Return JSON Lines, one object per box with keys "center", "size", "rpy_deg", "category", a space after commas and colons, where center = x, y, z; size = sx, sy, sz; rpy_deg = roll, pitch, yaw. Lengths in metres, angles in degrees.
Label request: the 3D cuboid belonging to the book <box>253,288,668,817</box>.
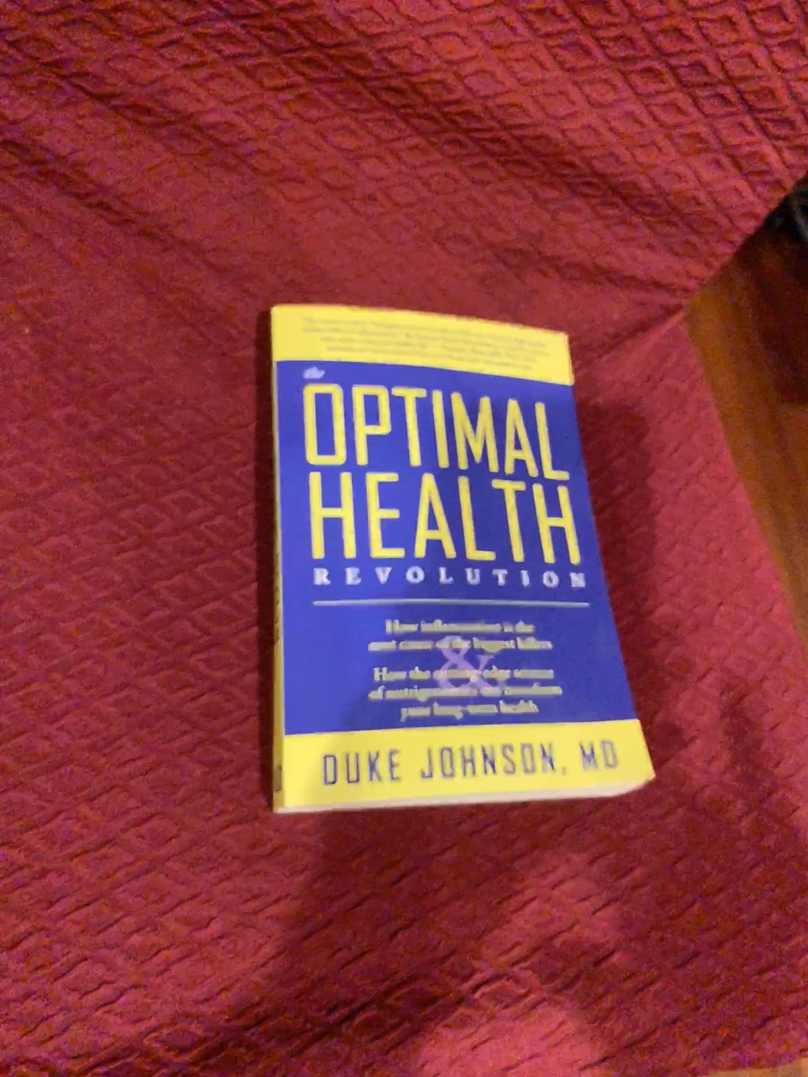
{"center": [0.016, 0.005, 0.389], "size": [0.161, 0.060, 0.222], "rpy_deg": [3, 68, -16], "category": "book"}
